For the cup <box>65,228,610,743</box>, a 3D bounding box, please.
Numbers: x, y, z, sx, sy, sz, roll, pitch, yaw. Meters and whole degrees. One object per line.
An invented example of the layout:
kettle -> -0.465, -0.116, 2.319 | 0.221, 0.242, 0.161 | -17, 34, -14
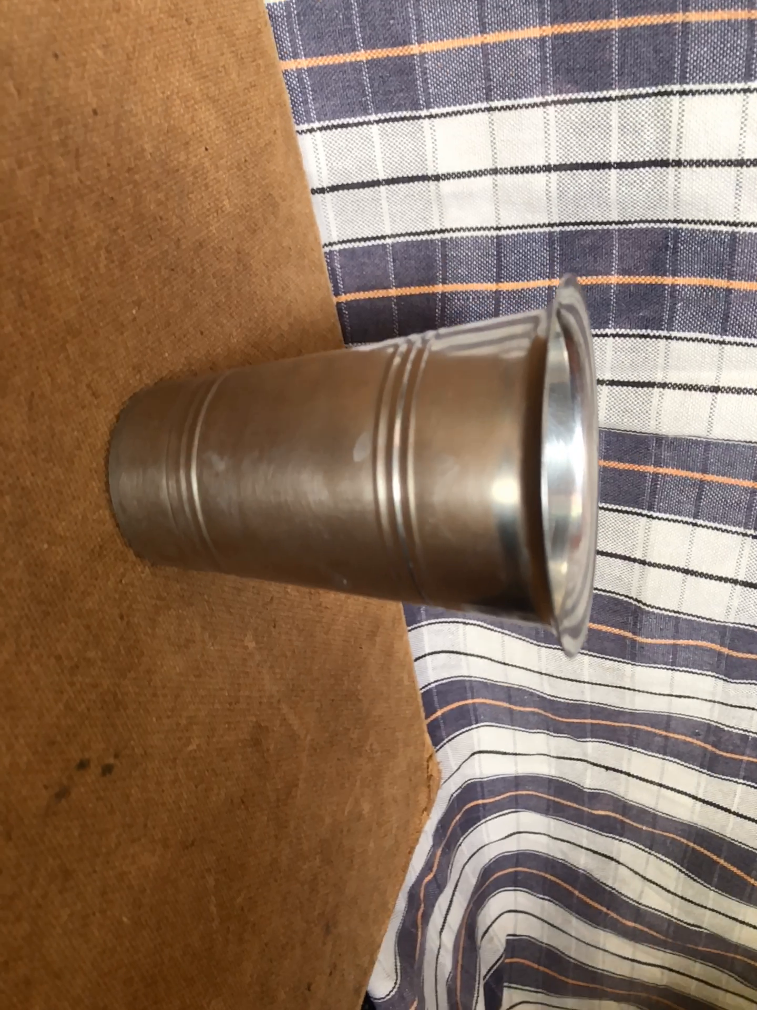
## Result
cup -> 0.000, -0.004, 0.188 | 0.091, 0.089, 0.080 | -10, 98, -69
